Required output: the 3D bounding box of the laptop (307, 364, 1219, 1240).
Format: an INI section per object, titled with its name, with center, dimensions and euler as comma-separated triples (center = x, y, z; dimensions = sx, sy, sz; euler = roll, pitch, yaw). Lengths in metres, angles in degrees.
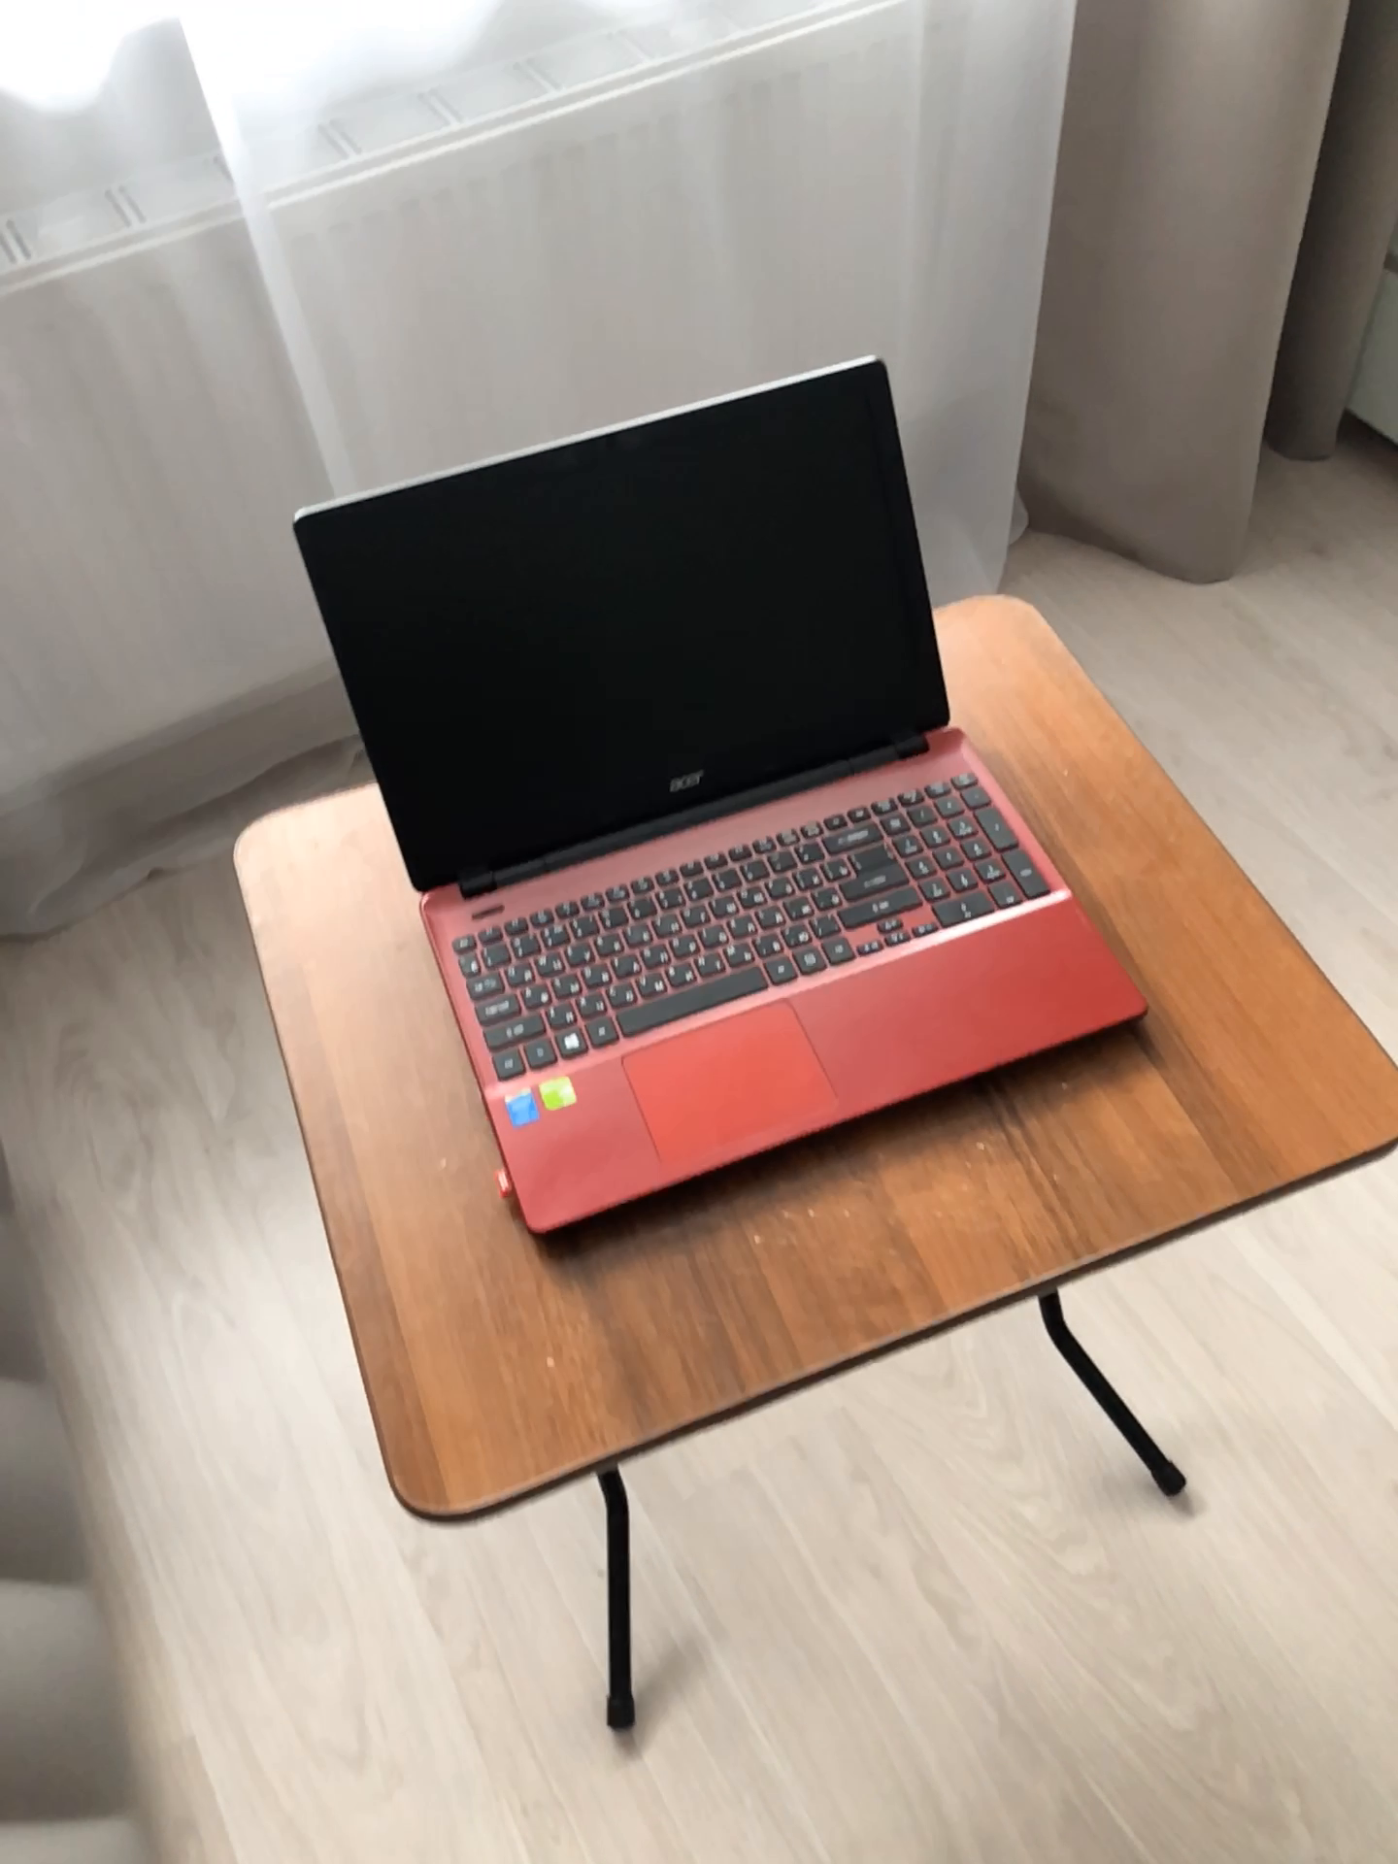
[laptop]
center = 0.015, -0.094, 0.890
dimensions = 0.372, 0.191, 0.382
euler = -19, 54, -9
